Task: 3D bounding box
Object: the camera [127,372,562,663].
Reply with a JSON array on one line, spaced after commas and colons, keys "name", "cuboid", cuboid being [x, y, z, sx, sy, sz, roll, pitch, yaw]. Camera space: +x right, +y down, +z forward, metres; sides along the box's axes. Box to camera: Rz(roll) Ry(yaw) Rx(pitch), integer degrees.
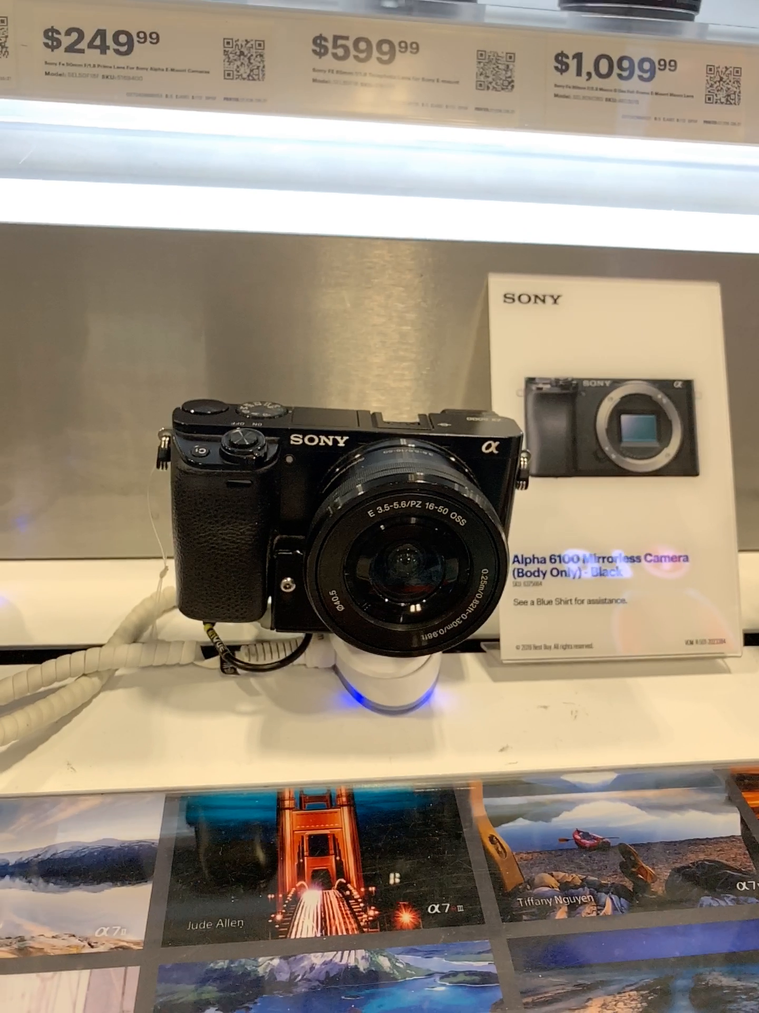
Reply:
[{"name": "camera", "cuboid": [-0.013, 0.002, 0.262, 0.120, 0.074, 0.066, 1, 22, -6]}]
